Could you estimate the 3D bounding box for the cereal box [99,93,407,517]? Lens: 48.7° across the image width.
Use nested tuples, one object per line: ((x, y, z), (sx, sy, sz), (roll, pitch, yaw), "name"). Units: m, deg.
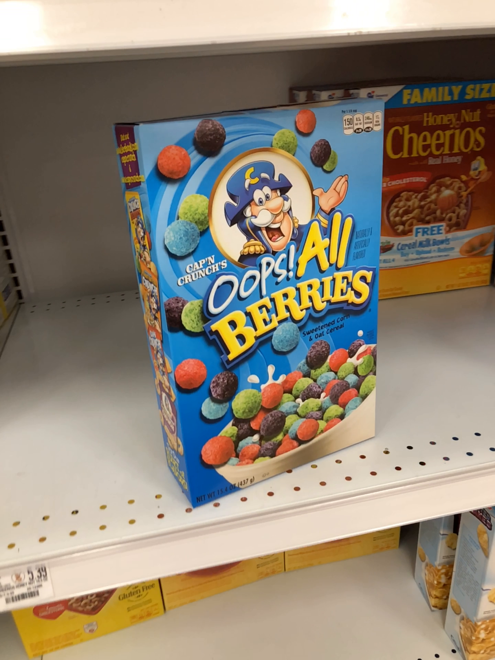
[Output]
((0.018, -0.024, 0.479), (0.220, 0.319, 0.080), (-16, 28, -22), "cereal box")
